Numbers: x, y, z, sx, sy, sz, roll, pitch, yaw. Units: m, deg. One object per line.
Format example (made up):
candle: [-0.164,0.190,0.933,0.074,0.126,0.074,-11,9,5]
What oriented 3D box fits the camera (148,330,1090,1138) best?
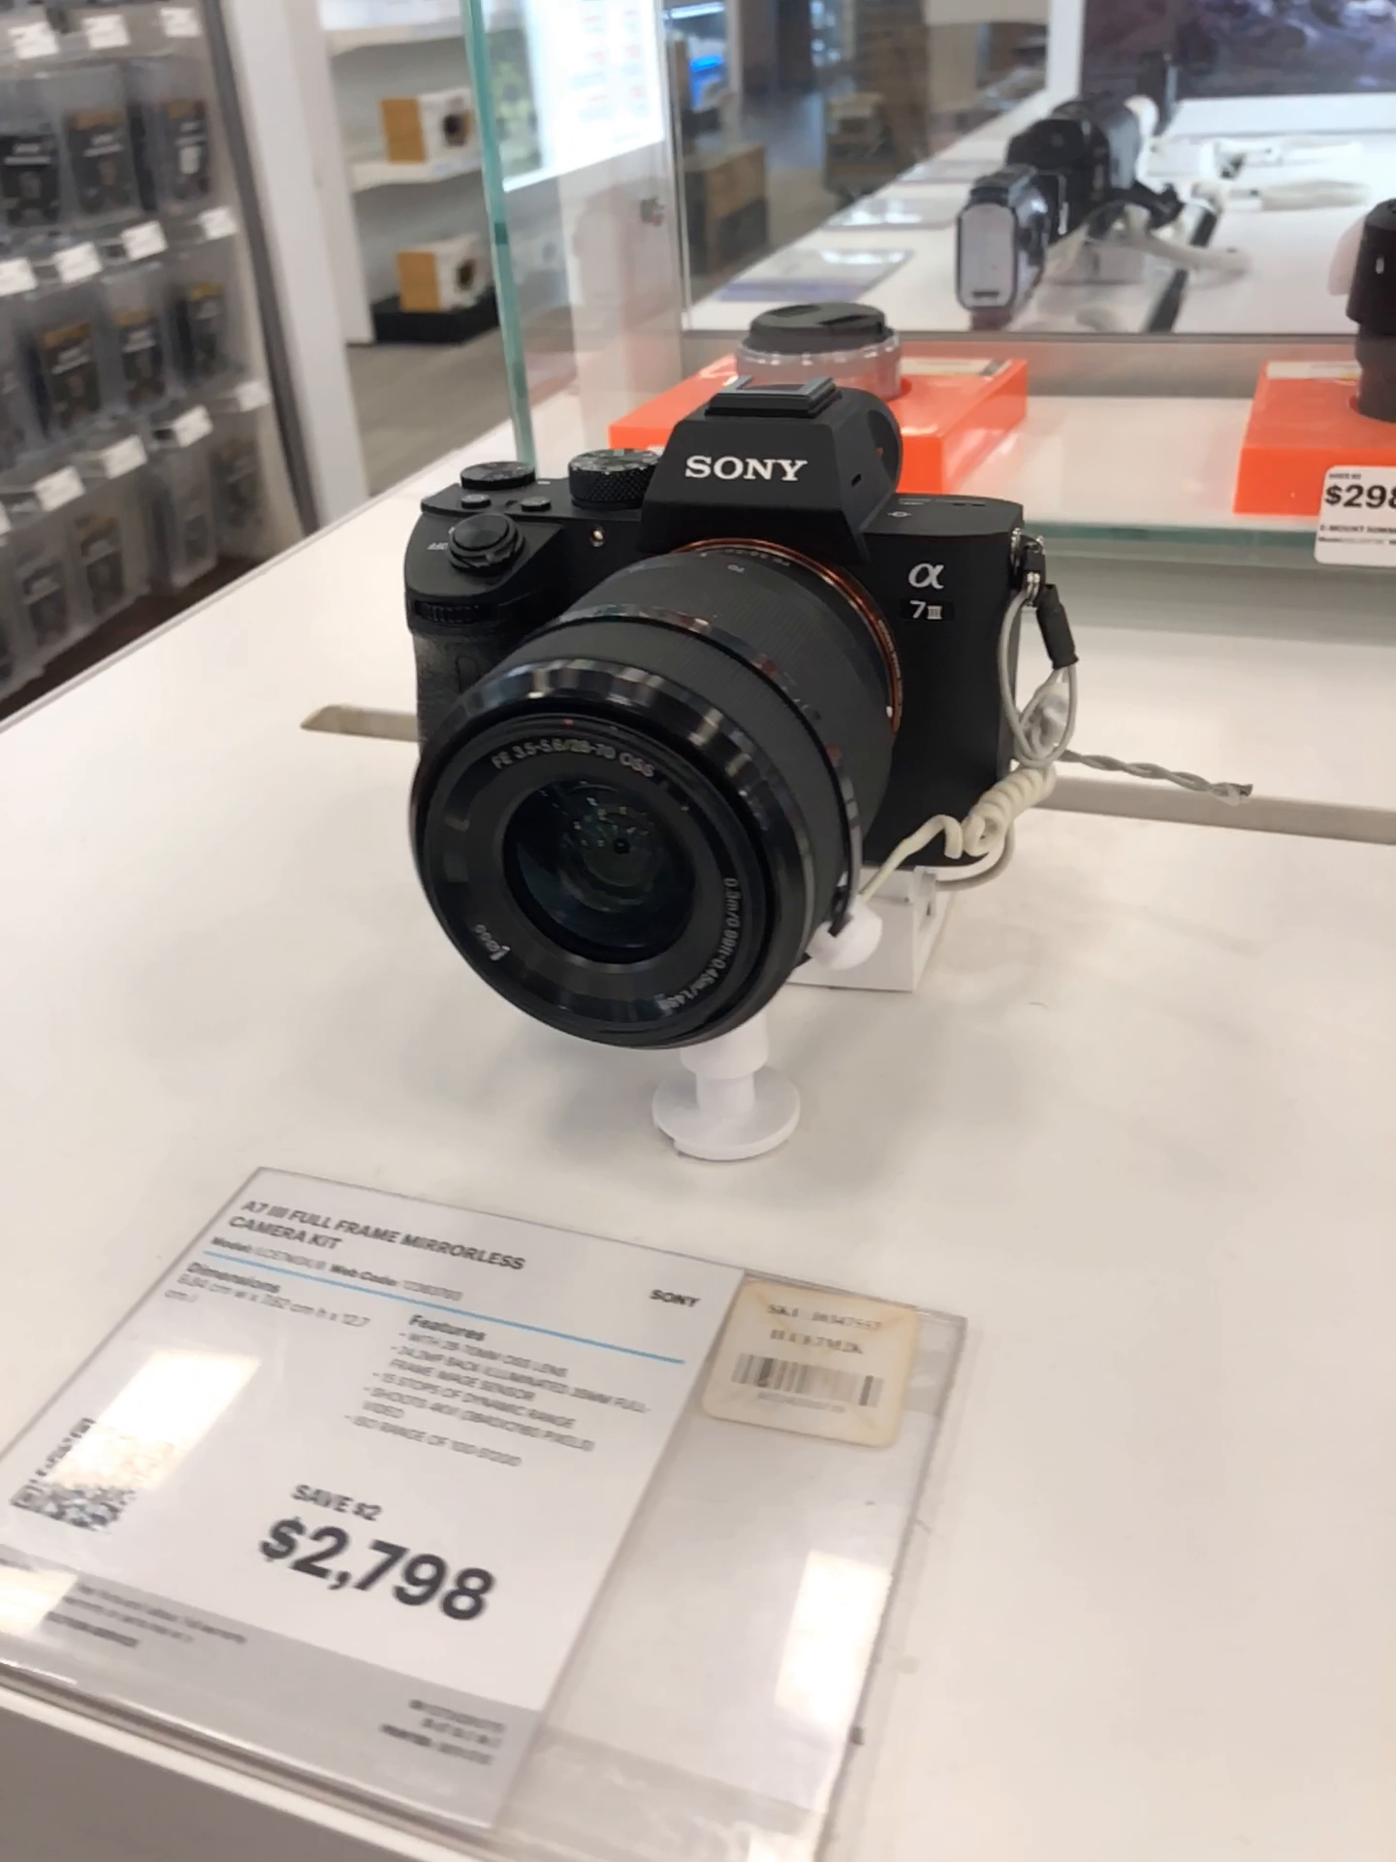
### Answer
camera: [0.001,-0.056,0.325,0.130,0.100,0.161,7,33,19]
